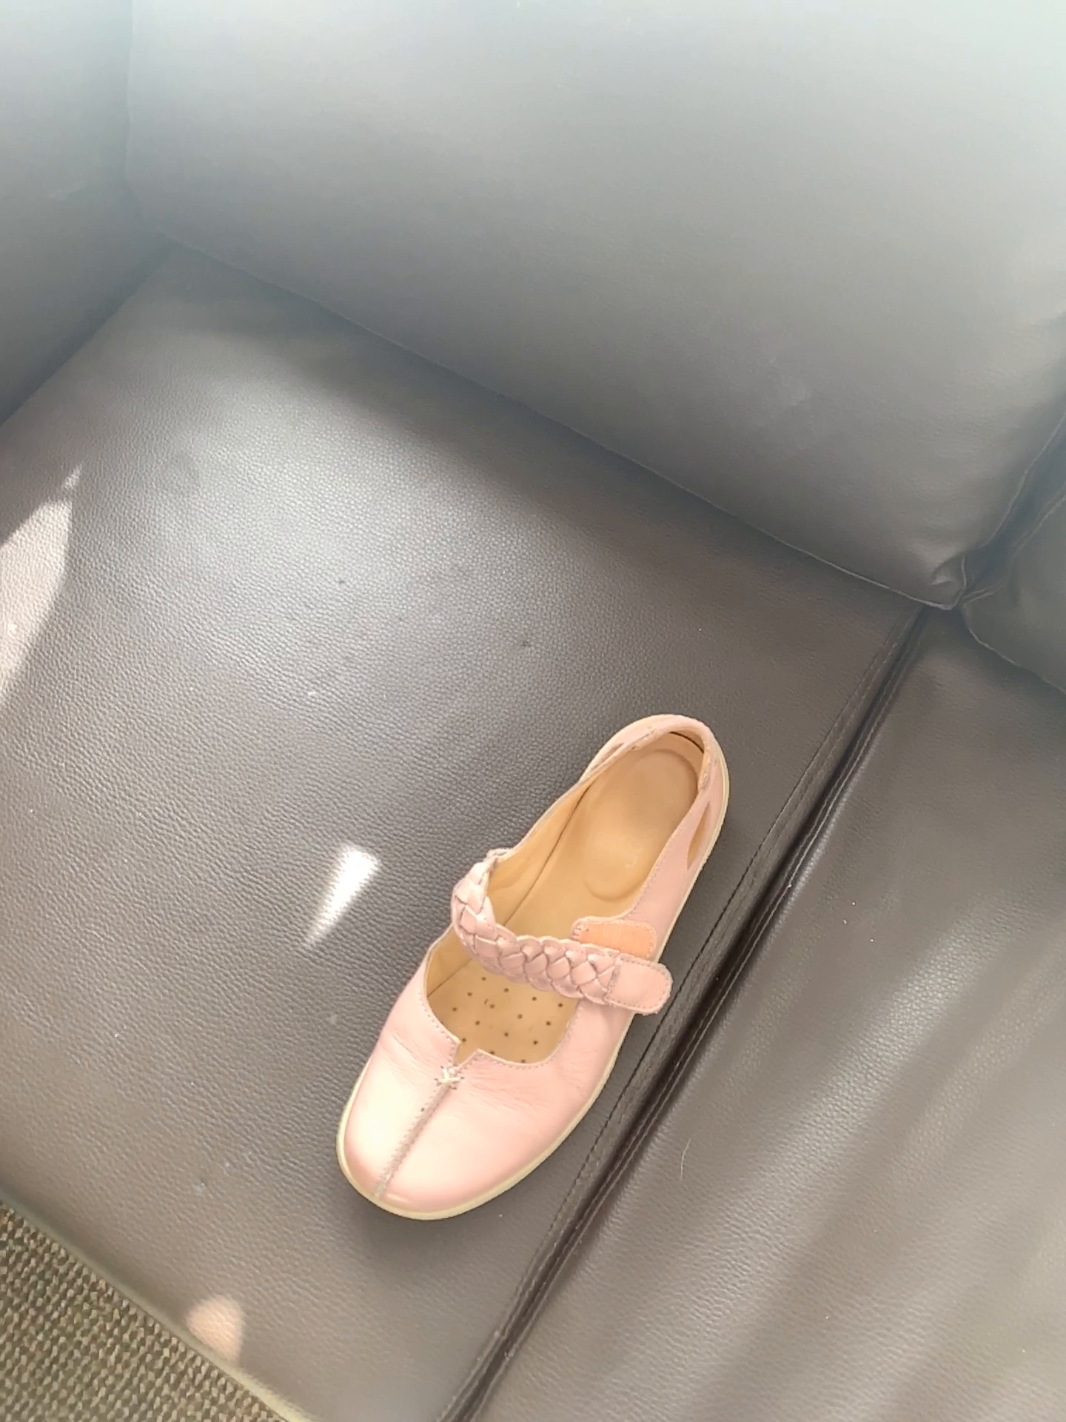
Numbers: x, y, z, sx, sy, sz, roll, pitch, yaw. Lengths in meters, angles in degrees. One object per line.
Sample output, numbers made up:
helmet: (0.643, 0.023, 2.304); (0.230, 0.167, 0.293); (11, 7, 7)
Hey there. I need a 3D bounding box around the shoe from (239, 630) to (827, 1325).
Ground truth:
shoe: (0.007, 0.109, 0.485); (0.104, 0.100, 0.260); (34, 76, 13)
